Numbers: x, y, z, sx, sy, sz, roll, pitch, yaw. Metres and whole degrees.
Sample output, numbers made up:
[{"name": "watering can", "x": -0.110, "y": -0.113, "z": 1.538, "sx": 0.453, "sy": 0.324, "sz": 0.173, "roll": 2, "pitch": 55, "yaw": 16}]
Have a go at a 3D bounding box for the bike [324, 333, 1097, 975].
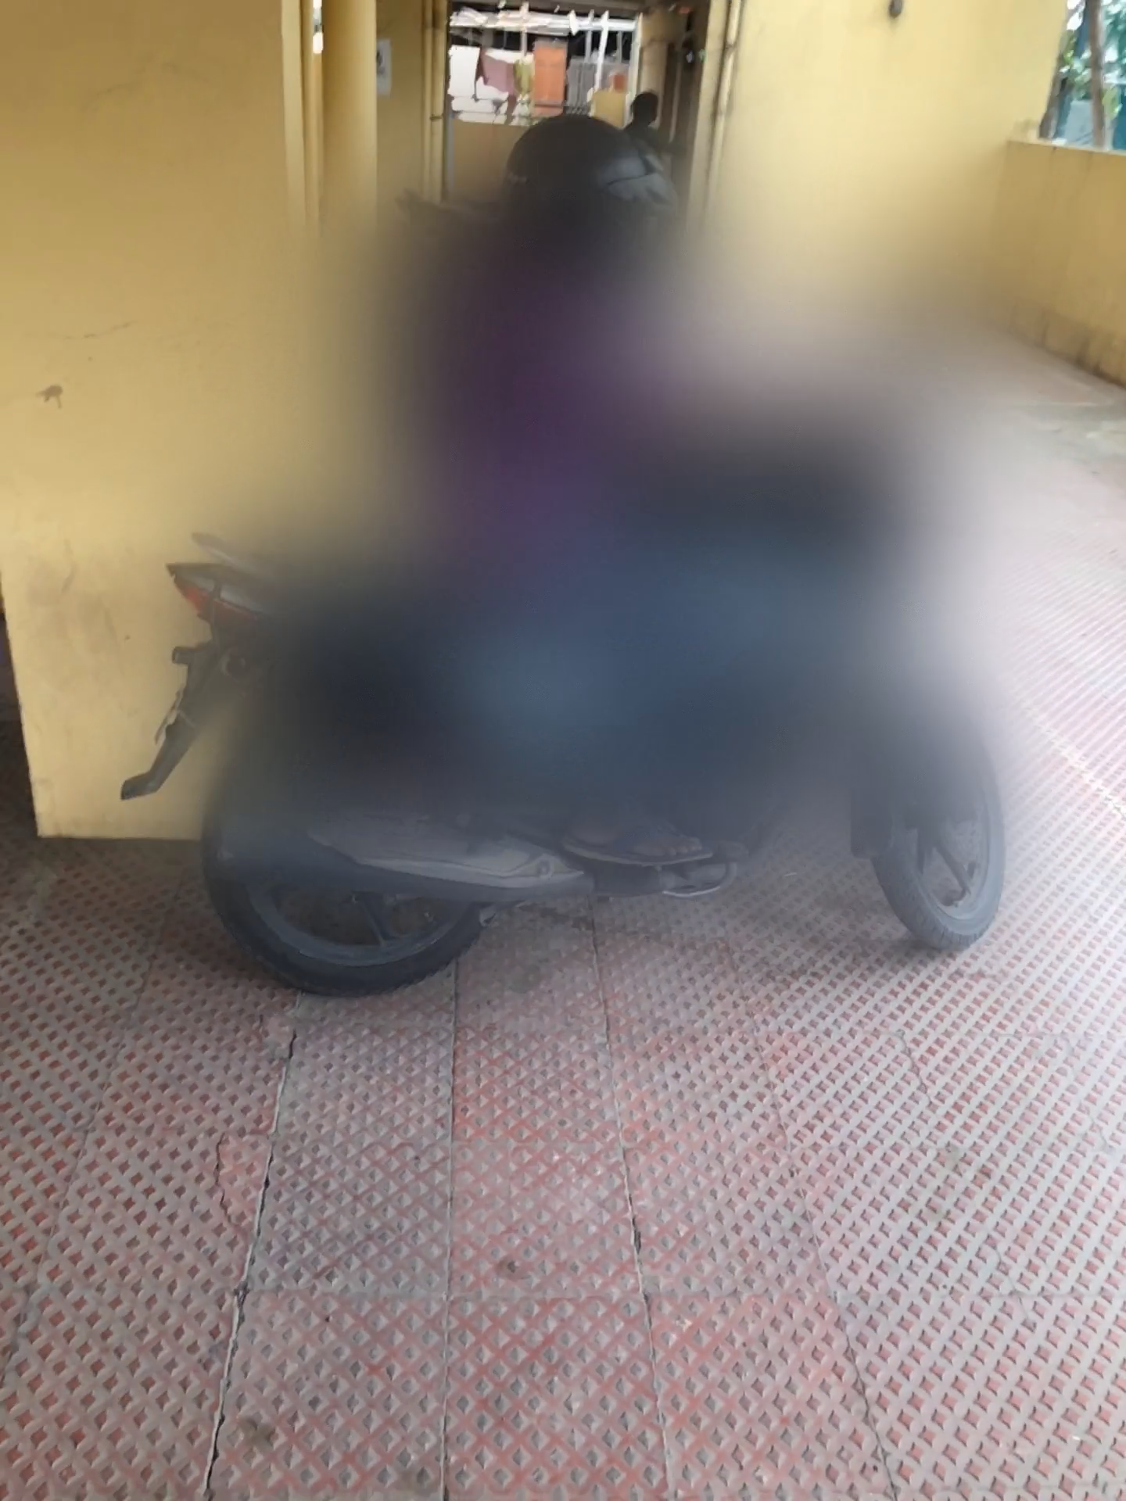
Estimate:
[{"name": "bike", "x": 0.196, "y": -0.205, "z": 2.490, "sx": 1.237, "sy": 0.999, "sz": 0.703, "roll": -2, "pitch": 29, "yaw": -16}]
